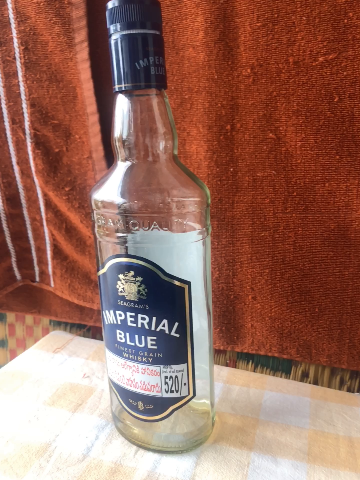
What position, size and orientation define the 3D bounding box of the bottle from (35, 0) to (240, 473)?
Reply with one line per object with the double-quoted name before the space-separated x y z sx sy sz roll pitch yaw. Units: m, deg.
"bottle" -0.017 -0.009 0.269 0.090 0.309 0.070 7 19 26
